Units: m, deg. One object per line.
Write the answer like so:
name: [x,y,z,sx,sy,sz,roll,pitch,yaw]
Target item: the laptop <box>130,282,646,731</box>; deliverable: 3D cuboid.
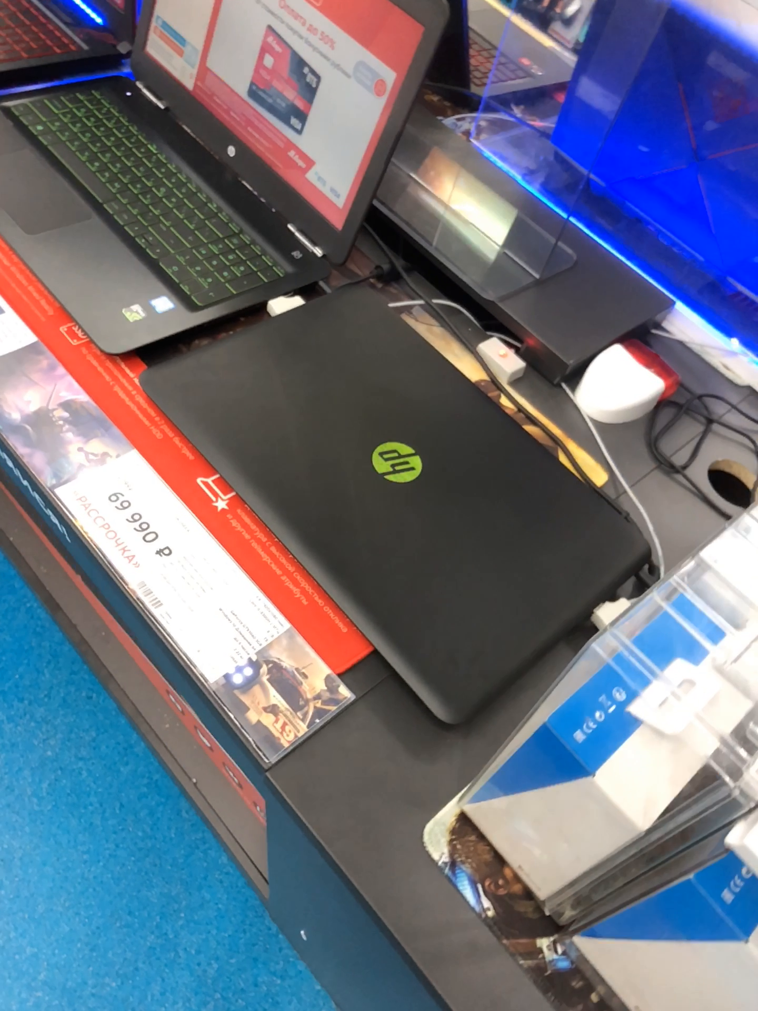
laptop: [0.007,-0.032,0.677,0.240,0.006,0.372,-32,67,-32]
